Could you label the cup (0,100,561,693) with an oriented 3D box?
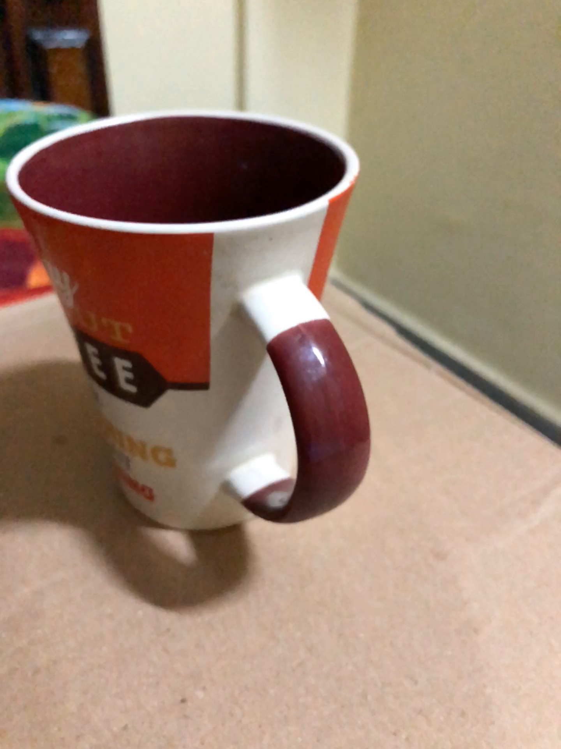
[{"bbox_3d":[-0.011,-0.012,0.198,0.100,0.109,0.130,-16,37,-26],"label":"cup"}]
